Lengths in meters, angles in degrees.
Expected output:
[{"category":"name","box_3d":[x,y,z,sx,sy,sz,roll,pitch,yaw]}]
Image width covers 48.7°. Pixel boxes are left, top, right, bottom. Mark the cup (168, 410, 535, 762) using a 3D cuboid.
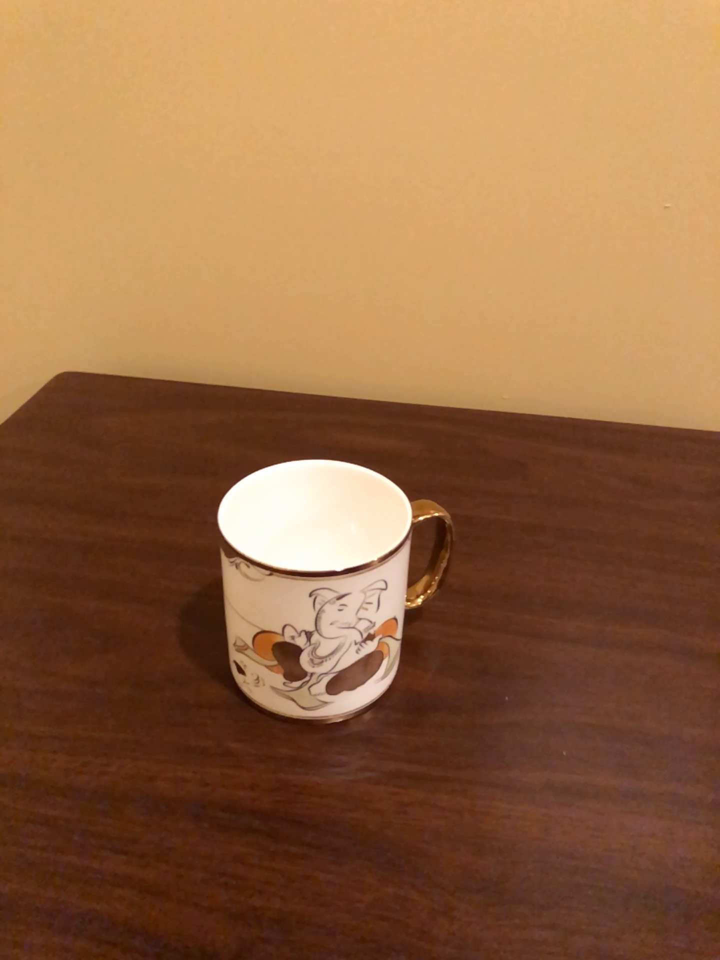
[{"category":"cup","box_3d":[-0.008,0.044,0.395,0.140,0.099,0.100,-14,35,-25]}]
